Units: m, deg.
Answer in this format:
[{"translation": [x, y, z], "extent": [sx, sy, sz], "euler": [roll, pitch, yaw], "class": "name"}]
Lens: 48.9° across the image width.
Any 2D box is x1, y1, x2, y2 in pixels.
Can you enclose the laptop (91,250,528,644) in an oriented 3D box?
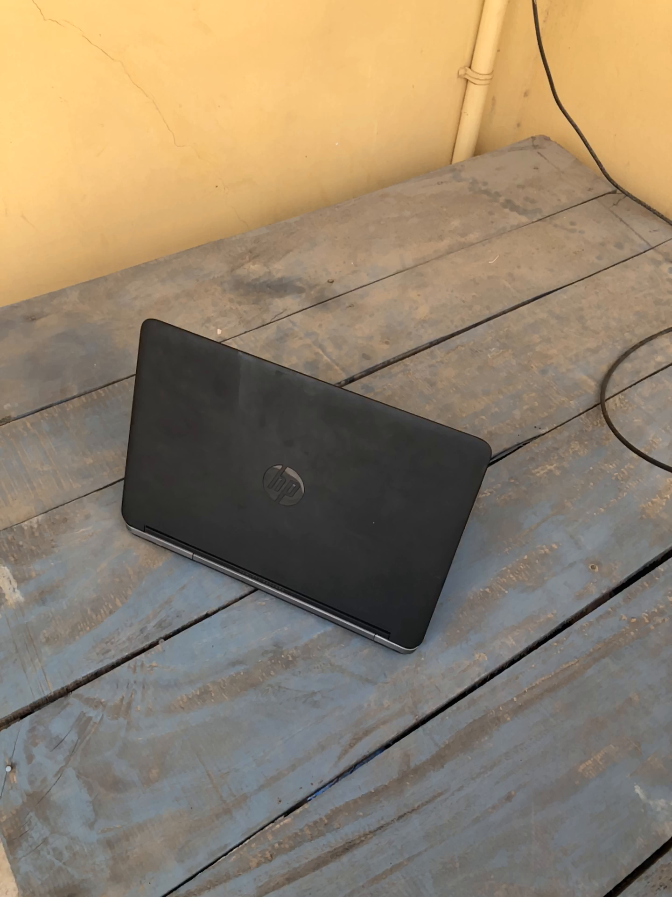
[{"translation": [-0.020, -0.007, 0.713], "extent": [0.316, 0.196, 0.211], "euler": [21, 52, 13], "class": "laptop"}]
